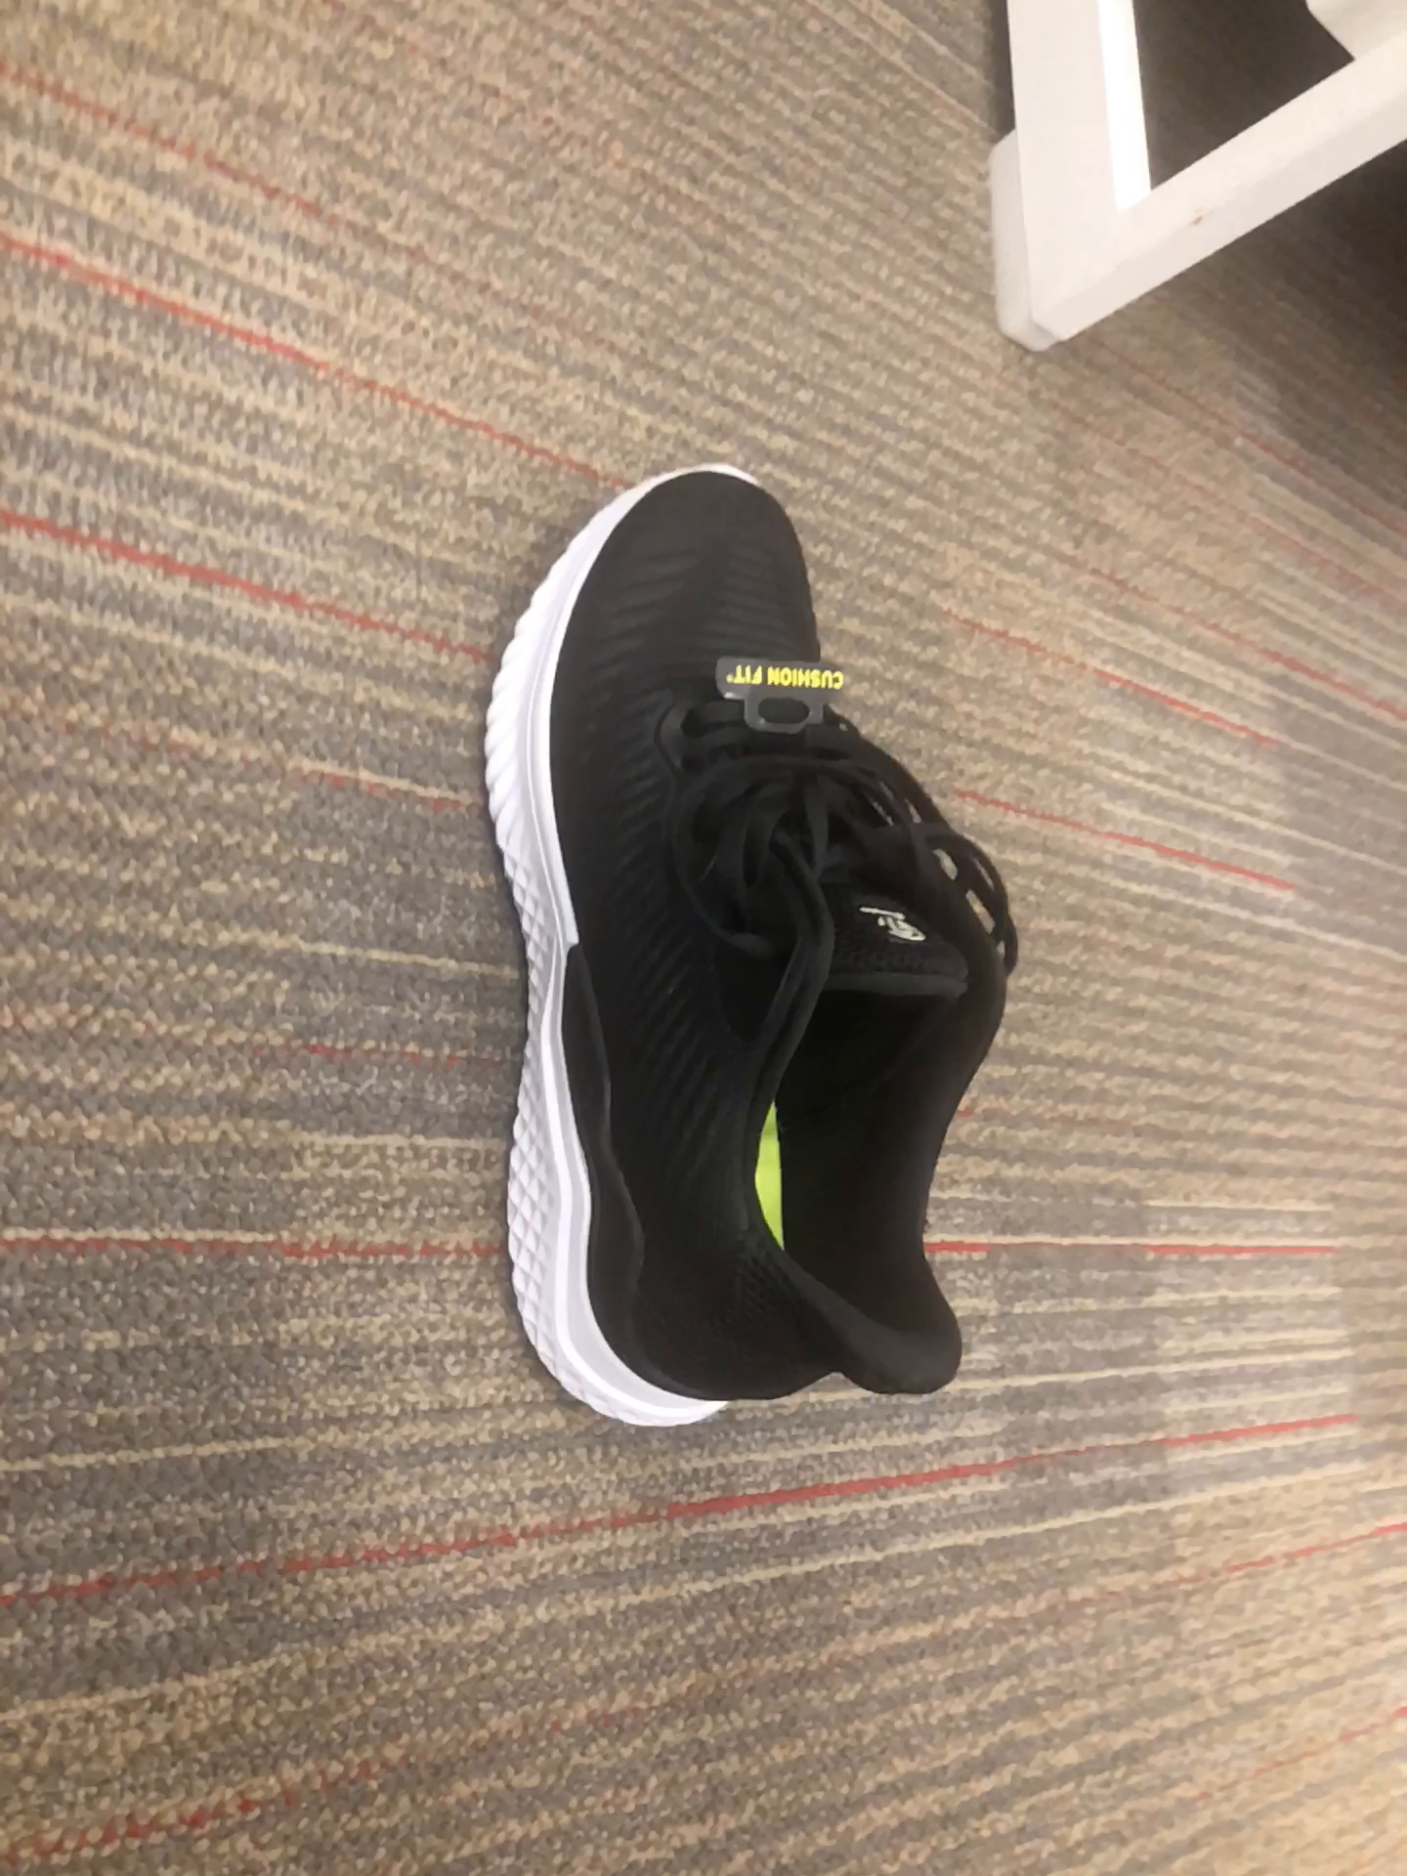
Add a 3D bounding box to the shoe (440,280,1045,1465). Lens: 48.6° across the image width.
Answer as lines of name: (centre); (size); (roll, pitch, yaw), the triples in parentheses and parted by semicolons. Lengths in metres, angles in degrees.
shoe: (0.011, -0.010, 0.439); (0.121, 0.099, 0.290); (12, 71, -39)
